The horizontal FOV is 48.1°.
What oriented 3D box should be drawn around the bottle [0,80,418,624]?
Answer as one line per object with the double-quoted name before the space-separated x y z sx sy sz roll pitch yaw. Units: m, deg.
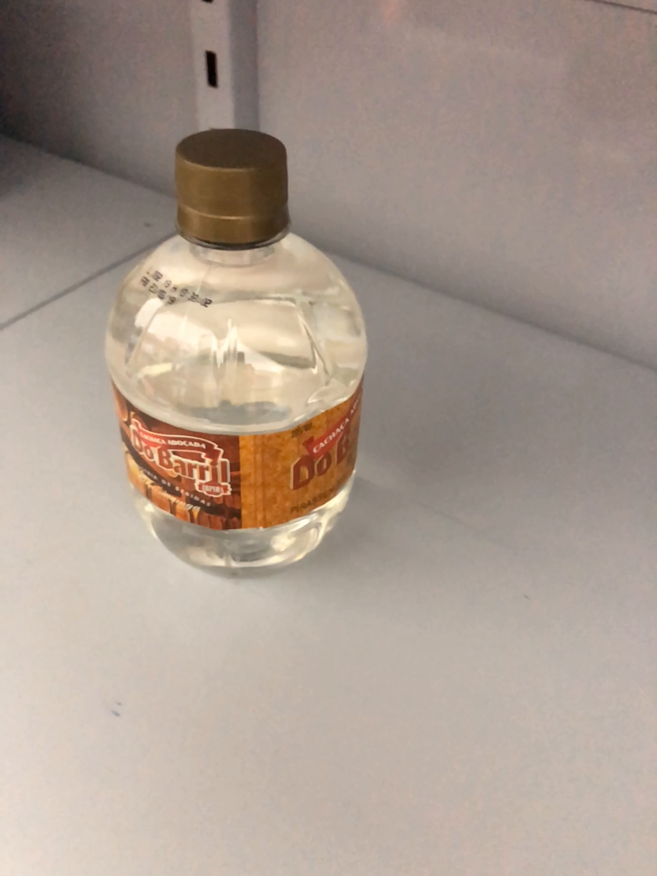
"bottle" -0.030 -0.025 0.241 0.080 0.139 0.080 2 42 -2
